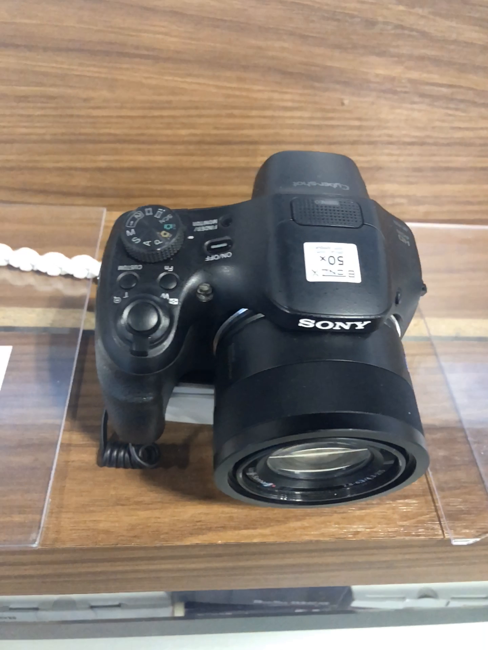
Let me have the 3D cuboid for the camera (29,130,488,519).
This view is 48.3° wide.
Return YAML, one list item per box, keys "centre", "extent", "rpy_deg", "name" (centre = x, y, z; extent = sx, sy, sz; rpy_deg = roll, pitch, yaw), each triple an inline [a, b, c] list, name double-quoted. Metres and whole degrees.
- centre: [0.007, -0.001, 0.199]
  extent: [0.125, 0.084, 0.110]
  rpy_deg: [2, 46, -6]
  name: "camera"
